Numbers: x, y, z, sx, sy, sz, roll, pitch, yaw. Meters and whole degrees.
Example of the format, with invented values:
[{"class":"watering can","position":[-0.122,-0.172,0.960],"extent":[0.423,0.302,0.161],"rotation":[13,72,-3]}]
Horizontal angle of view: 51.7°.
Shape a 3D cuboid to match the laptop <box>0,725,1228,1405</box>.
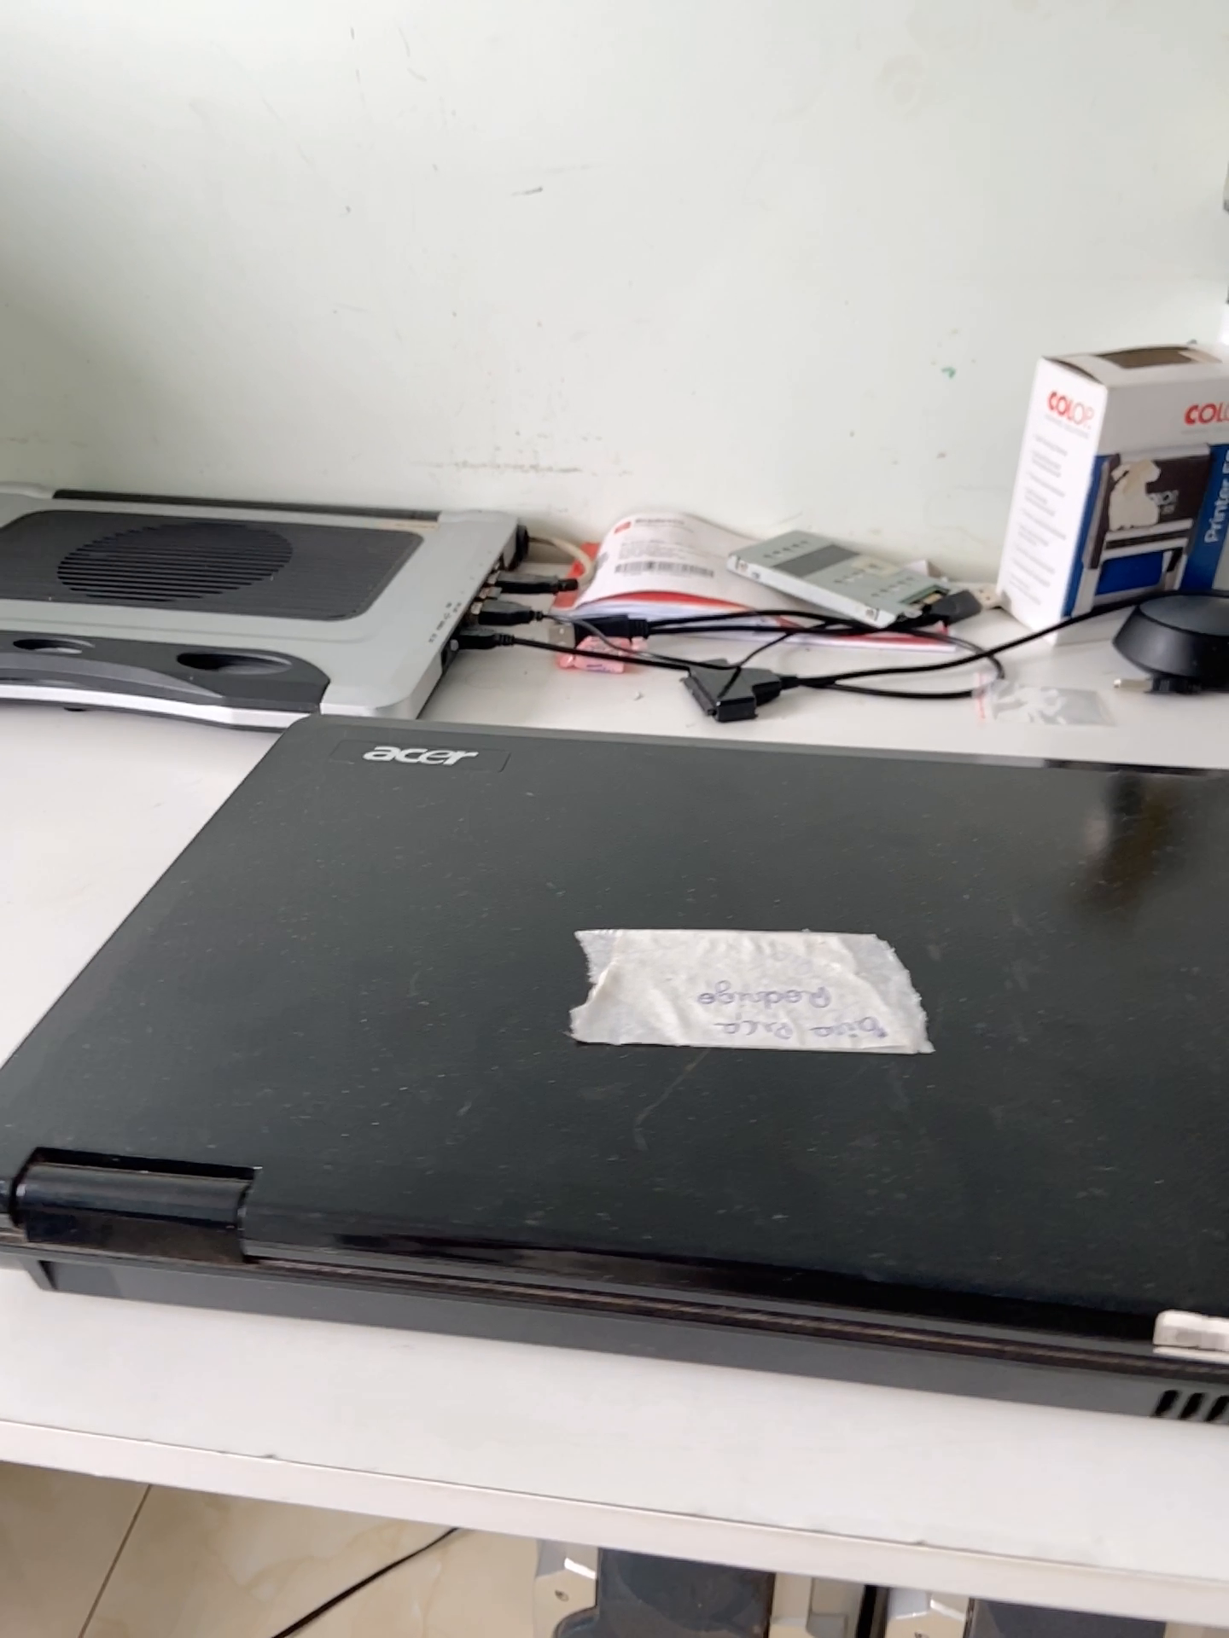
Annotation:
[{"class":"laptop","position":[0.041,0.037,0.364],"extent":[0.356,0.005,0.240],"rotation":[4,30,8]}]
